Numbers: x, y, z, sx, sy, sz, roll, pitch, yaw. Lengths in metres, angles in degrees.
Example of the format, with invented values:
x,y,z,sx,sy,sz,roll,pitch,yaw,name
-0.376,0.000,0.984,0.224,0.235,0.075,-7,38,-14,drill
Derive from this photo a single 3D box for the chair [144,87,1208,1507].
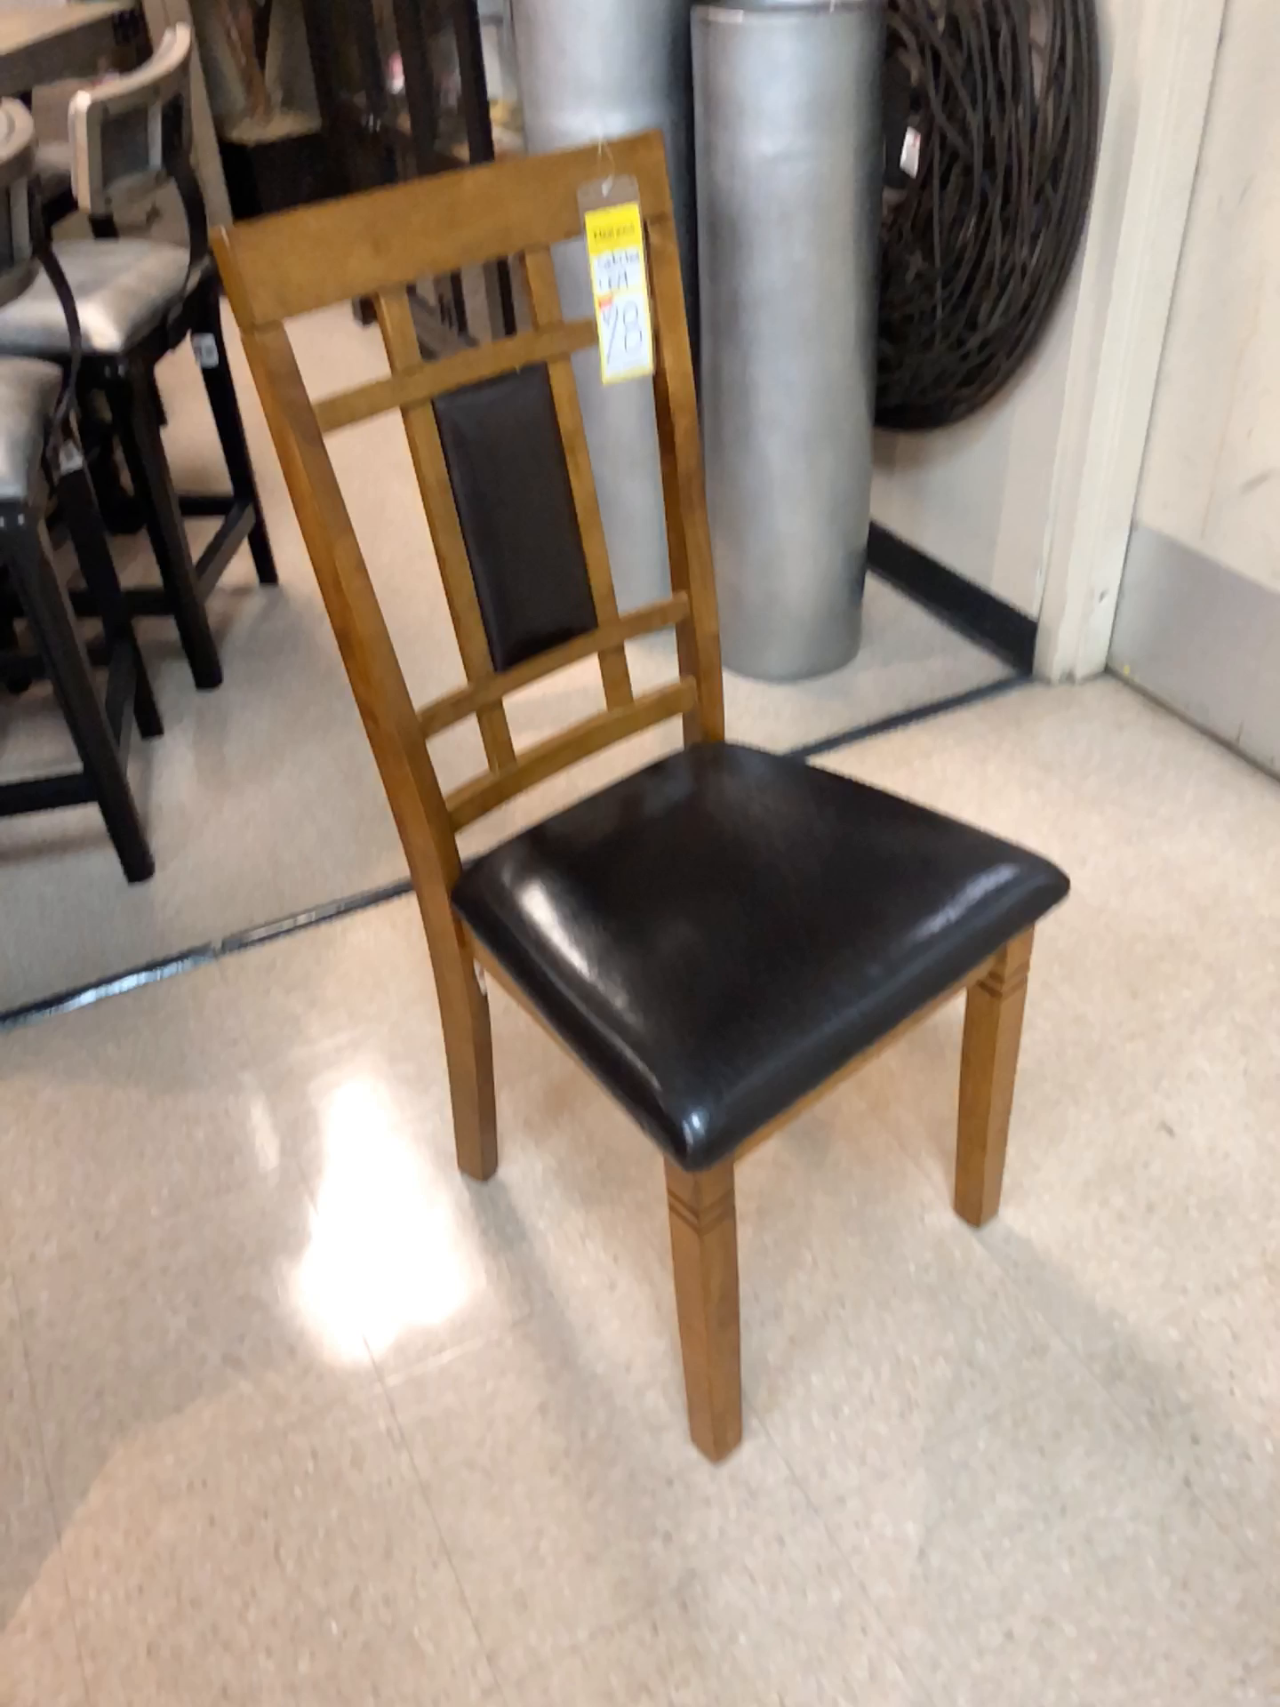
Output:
x,y,z,sx,sy,sz,roll,pitch,yaw,name
0.029,-0.028,1.185,0.451,0.993,0.503,-30,45,-30,chair
